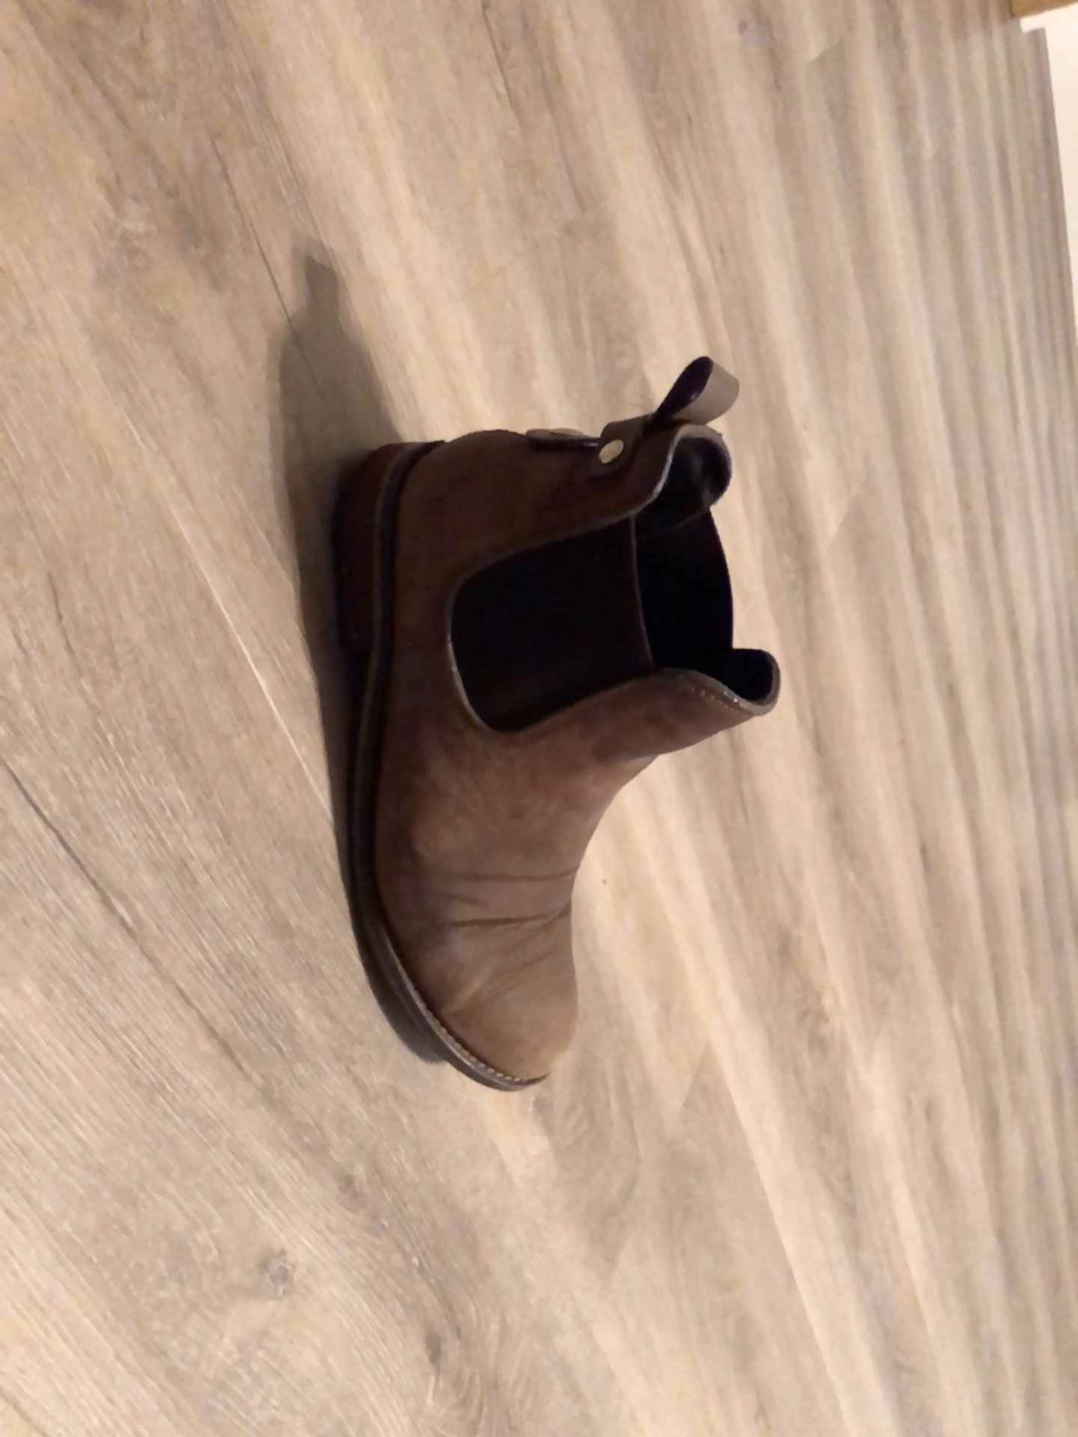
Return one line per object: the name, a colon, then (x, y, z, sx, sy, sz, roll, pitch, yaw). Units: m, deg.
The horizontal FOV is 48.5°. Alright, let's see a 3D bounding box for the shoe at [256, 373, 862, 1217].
shoe: (0.014, 0.019, 0.404, 0.101, 0.139, 0.240, -27, 111, -57)
